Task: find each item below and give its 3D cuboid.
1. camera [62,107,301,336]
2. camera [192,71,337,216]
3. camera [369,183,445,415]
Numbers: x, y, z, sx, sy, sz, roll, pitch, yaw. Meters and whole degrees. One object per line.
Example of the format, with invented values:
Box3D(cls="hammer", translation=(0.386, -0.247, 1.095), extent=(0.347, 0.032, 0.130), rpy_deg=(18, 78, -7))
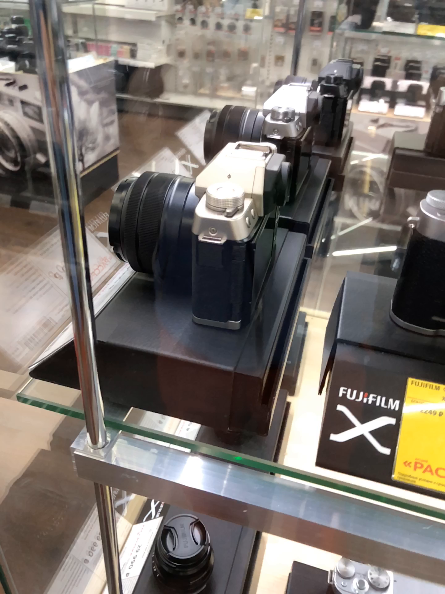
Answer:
Box3D(cls="camera", translation=(-0.015, -0.056, 0.303), extent=(0.100, 0.080, 0.132), rpy_deg=(10, 34, 10))
Box3D(cls="camera", translation=(0.043, -0.152, 0.466), extent=(0.102, 0.086, 0.141), rpy_deg=(11, 34, 12))
Box3D(cls="camera", translation=(0.153, -0.003, 0.256), extent=(0.131, 0.076, 0.055), rpy_deg=(13, 34, 14))
